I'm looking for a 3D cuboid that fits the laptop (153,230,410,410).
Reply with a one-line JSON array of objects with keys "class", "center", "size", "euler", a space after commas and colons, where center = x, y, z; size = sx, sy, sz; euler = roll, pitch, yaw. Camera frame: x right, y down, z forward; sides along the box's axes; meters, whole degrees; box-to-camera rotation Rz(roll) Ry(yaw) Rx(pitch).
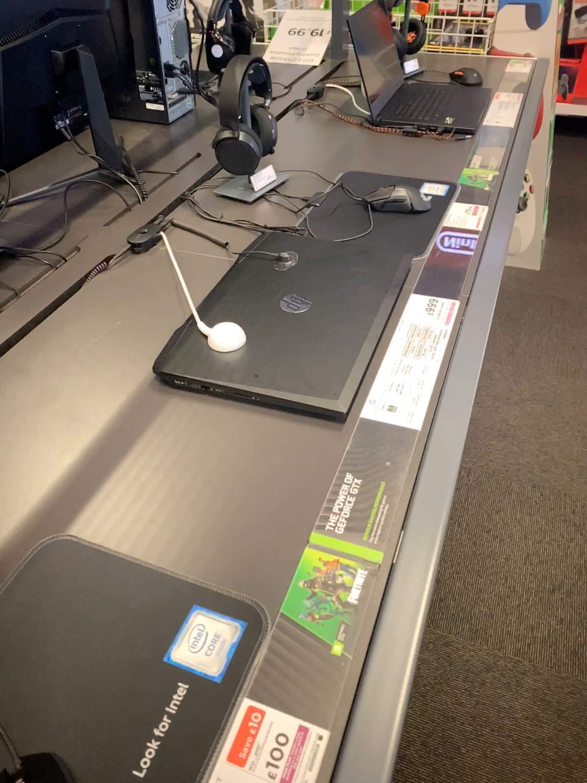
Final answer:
[{"class": "laptop", "center": [0.004, -0.132, 0.886], "size": [0.256, 0.001, 0.397], "euler": [12, 44, 16]}]
